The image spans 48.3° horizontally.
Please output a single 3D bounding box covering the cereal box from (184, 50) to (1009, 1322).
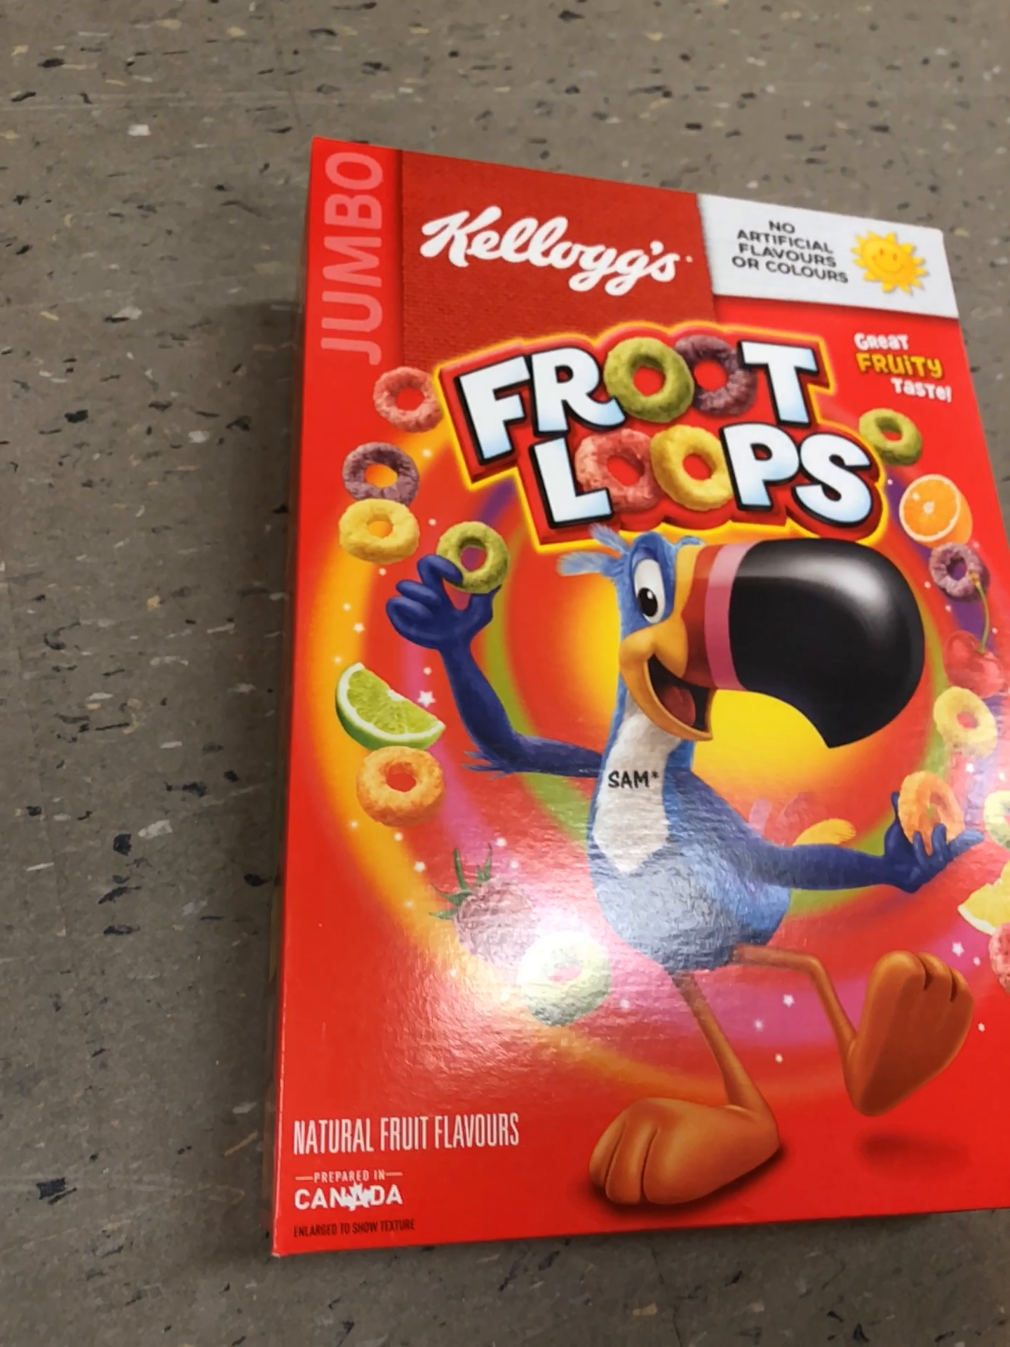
[{"bbox_3d":[0.053,-0.014,0.360,0.270,0.080,0.360,3,67,-12],"label":"cereal box"}]
